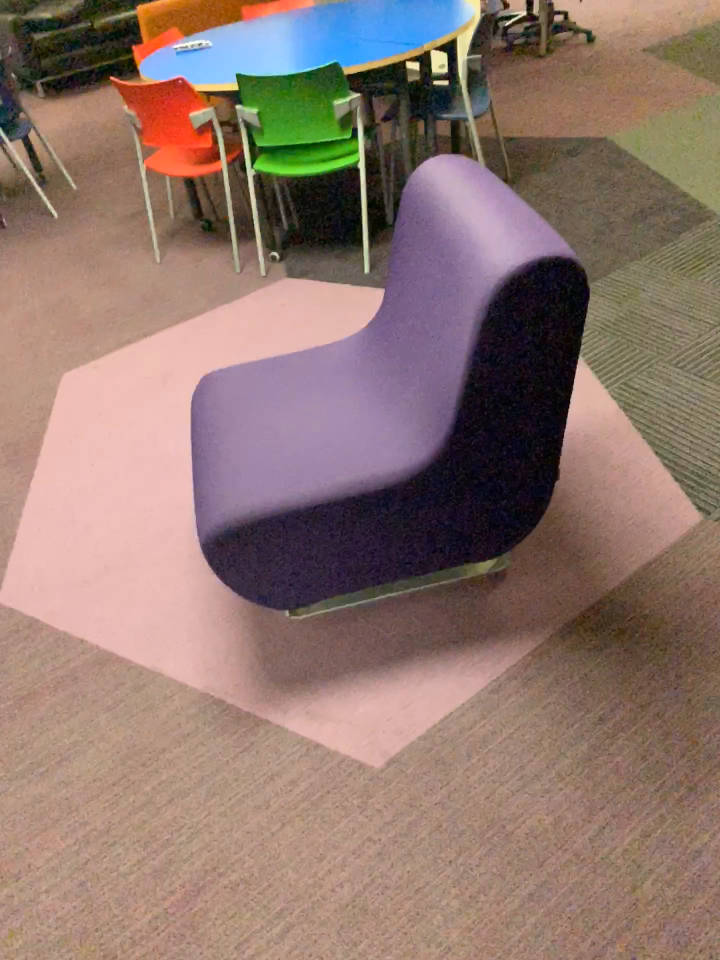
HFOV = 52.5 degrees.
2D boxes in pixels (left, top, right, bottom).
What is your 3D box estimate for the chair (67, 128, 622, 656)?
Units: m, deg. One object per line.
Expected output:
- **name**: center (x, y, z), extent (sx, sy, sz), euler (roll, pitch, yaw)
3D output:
- **chair**: center (-0.049, -0.236, 1.552), extent (0.820, 0.614, 0.808), euler (-14, 40, -4)
